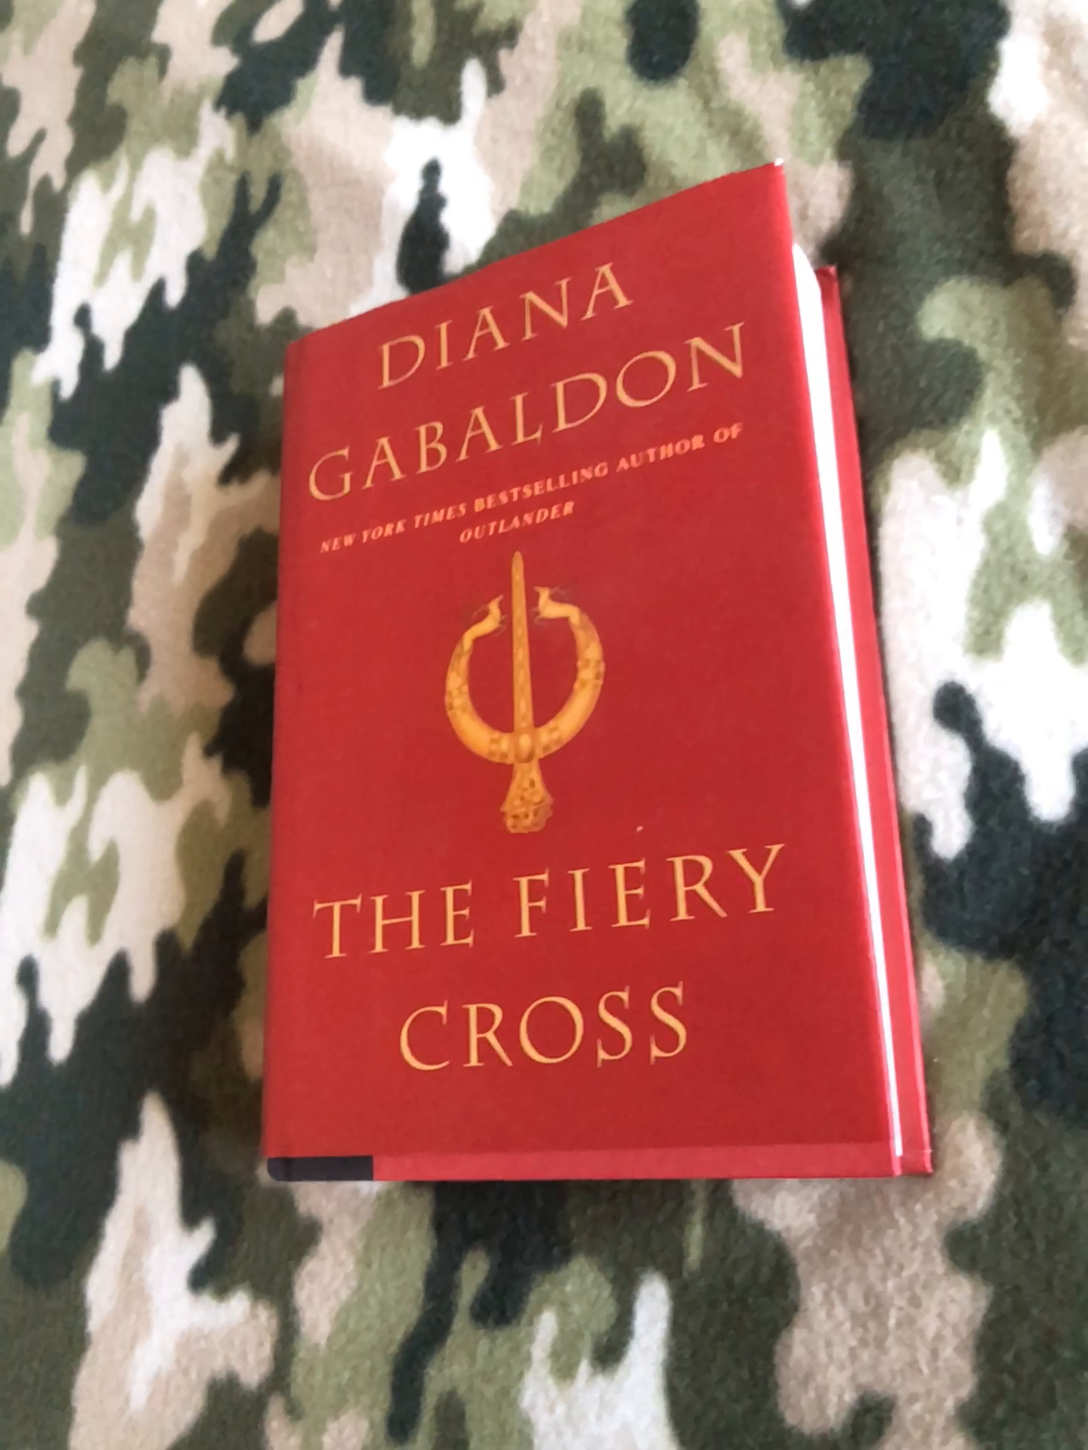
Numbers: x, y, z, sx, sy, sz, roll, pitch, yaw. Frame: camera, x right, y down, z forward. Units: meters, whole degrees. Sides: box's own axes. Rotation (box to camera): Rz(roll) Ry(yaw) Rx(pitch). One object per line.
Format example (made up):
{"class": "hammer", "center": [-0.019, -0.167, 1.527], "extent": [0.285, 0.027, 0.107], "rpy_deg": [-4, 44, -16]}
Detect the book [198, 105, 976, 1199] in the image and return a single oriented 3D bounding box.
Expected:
{"class": "book", "center": [0.004, -0.011, 0.323], "extent": [0.170, 0.070, 0.250], "rpy_deg": [-10, 71, 24]}
